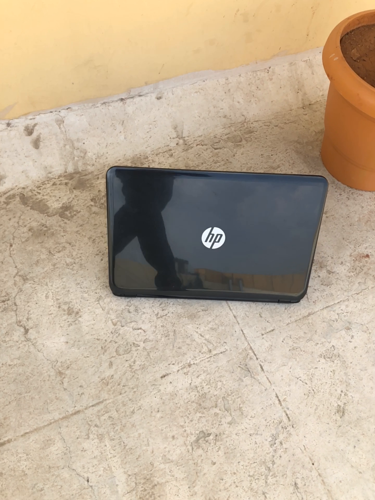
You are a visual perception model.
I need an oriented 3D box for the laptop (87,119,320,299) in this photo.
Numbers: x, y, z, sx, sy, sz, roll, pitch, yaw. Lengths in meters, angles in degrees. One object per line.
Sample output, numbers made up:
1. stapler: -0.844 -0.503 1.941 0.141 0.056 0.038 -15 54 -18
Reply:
1. laptop: 0.026 -0.064 0.734 0.344 0.189 0.222 2 62 -3
